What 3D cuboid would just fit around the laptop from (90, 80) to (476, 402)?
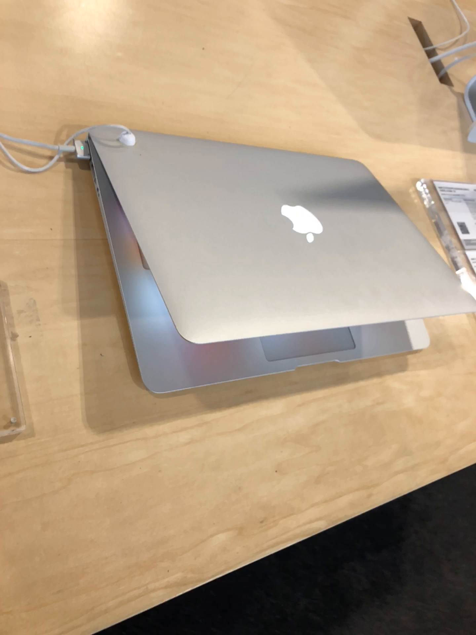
[{"bbox_3d":[0.061,-0.064,0.448,0.316,0.067,0.215,-5,69,-34],"label":"laptop"}]
